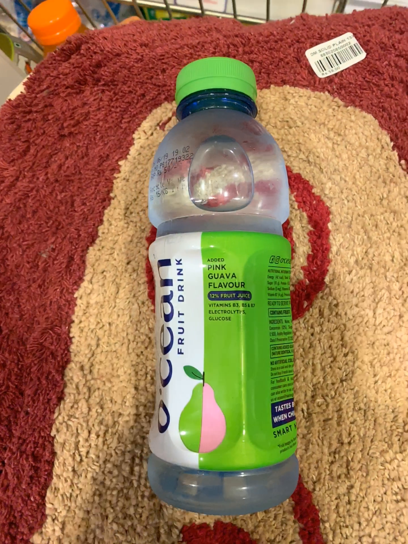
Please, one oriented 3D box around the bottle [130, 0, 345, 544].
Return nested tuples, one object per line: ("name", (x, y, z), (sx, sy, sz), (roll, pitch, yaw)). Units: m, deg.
("bottle", (0.018, -0.005, 0.203), (0.080, 0.070, 0.210), (-3, 85, 23))
